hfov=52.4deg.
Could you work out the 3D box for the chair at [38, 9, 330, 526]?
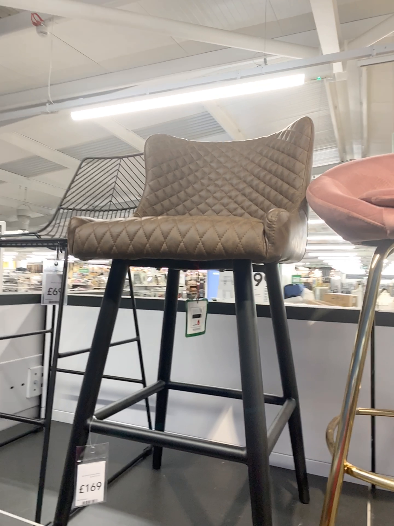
[{"bbox_3d":[0.016,0.078,0.944,0.535,0.997,0.465,1,0,16],"label":"chair"}]
